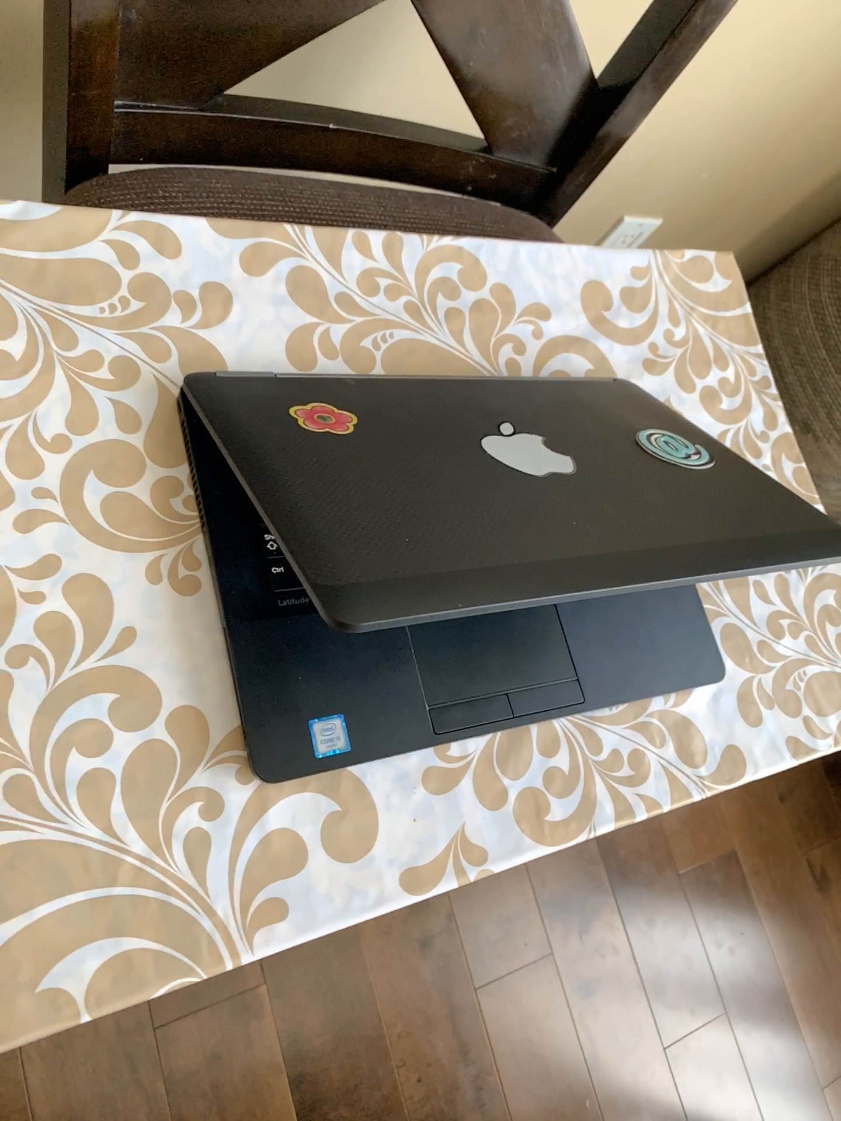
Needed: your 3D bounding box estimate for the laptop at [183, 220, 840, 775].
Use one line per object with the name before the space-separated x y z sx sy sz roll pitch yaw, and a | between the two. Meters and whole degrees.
laptop | 0.061 -0.031 0.436 0.301 0.127 0.199 -6 73 -30
